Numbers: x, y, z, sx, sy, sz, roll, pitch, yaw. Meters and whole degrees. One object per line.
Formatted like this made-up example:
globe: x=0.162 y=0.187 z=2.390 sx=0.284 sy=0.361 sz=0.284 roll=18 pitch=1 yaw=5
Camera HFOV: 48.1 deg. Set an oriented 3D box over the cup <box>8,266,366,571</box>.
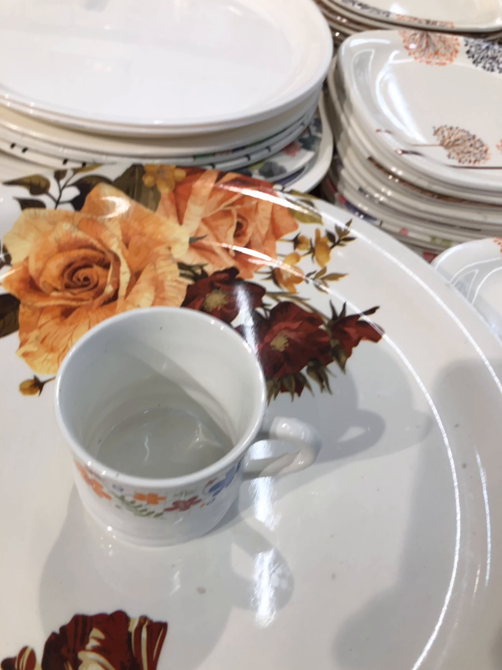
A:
cup: x=-0.020 y=0.035 z=0.209 sx=0.100 sy=0.079 sz=0.070 roll=9 pitch=53 yaw=-5
